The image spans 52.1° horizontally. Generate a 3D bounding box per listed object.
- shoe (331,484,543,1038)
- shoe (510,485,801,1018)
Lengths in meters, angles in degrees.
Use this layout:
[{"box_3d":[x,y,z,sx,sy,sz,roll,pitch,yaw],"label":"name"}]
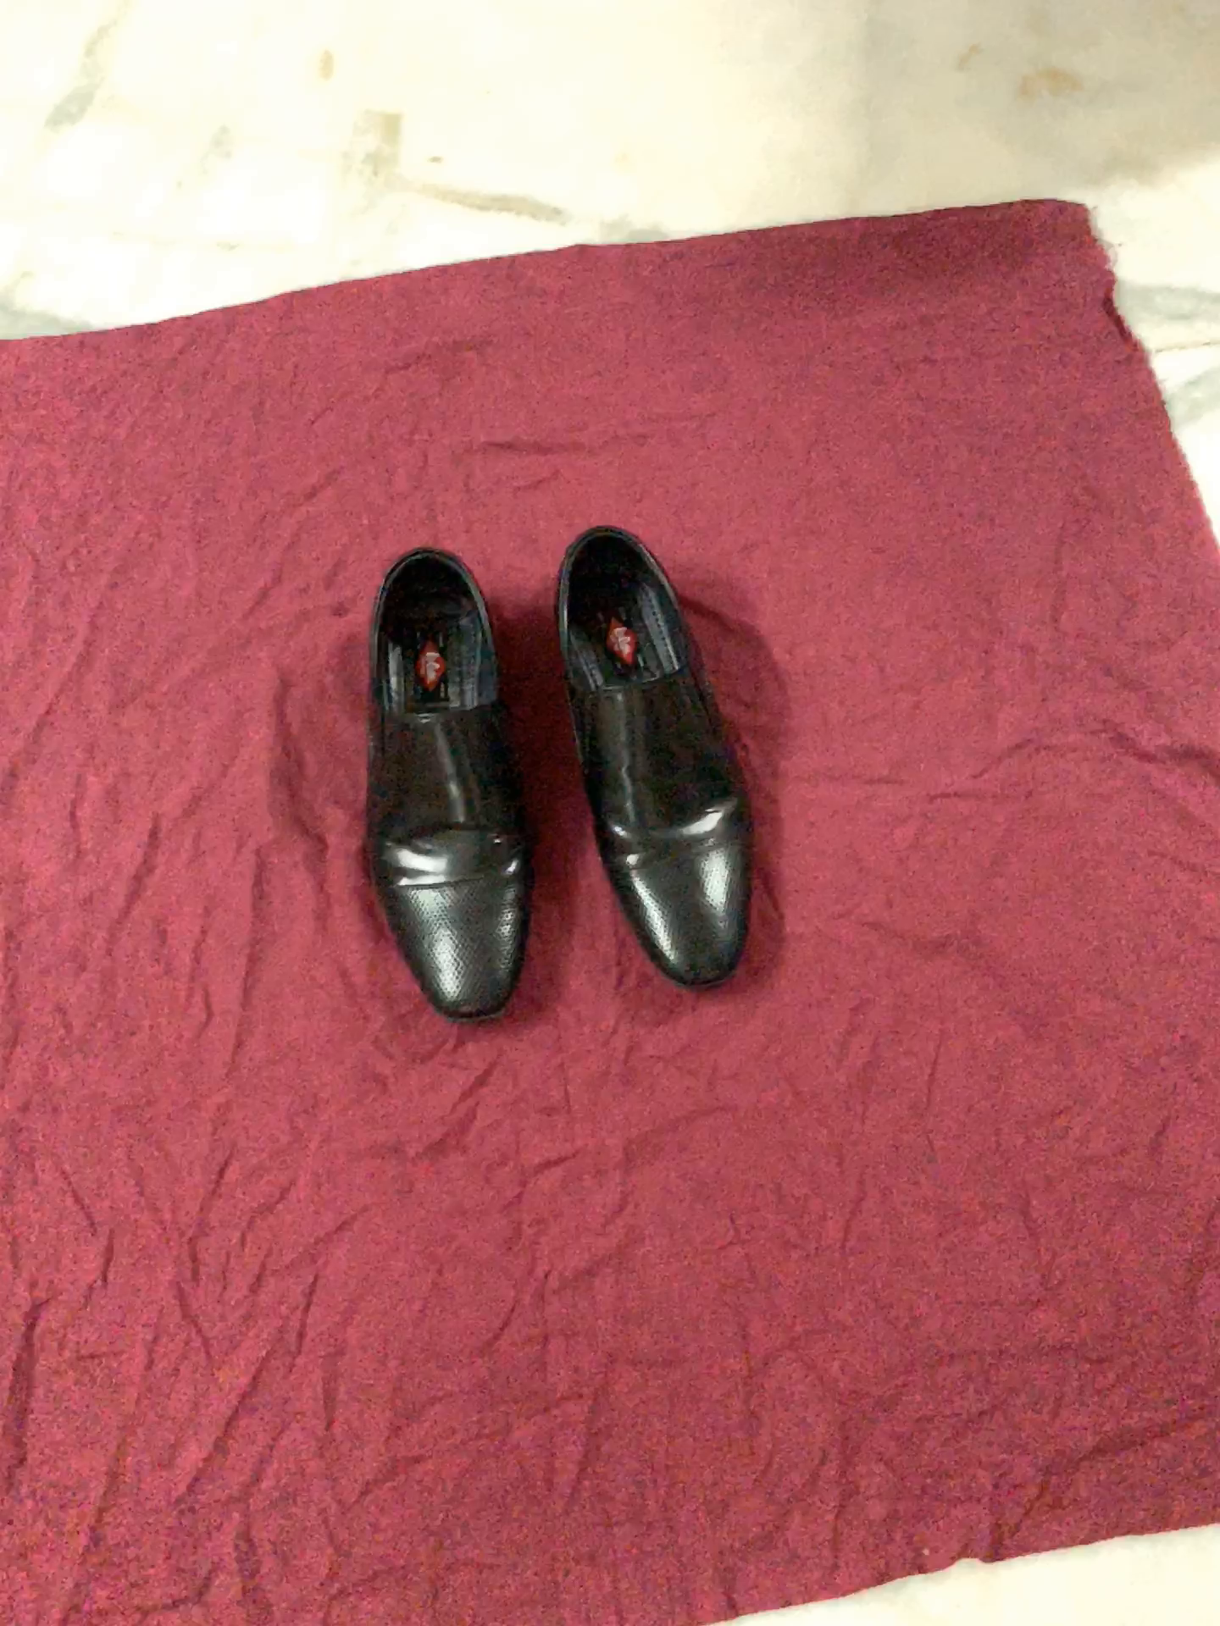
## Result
[{"box_3d":[-0.101,-0.033,0.726,0.100,0.100,0.301,-5,68,-1],"label":"shoe"},{"box_3d":[0.020,-0.039,0.746,0.100,0.100,0.291,-12,68,-4],"label":"shoe"}]
